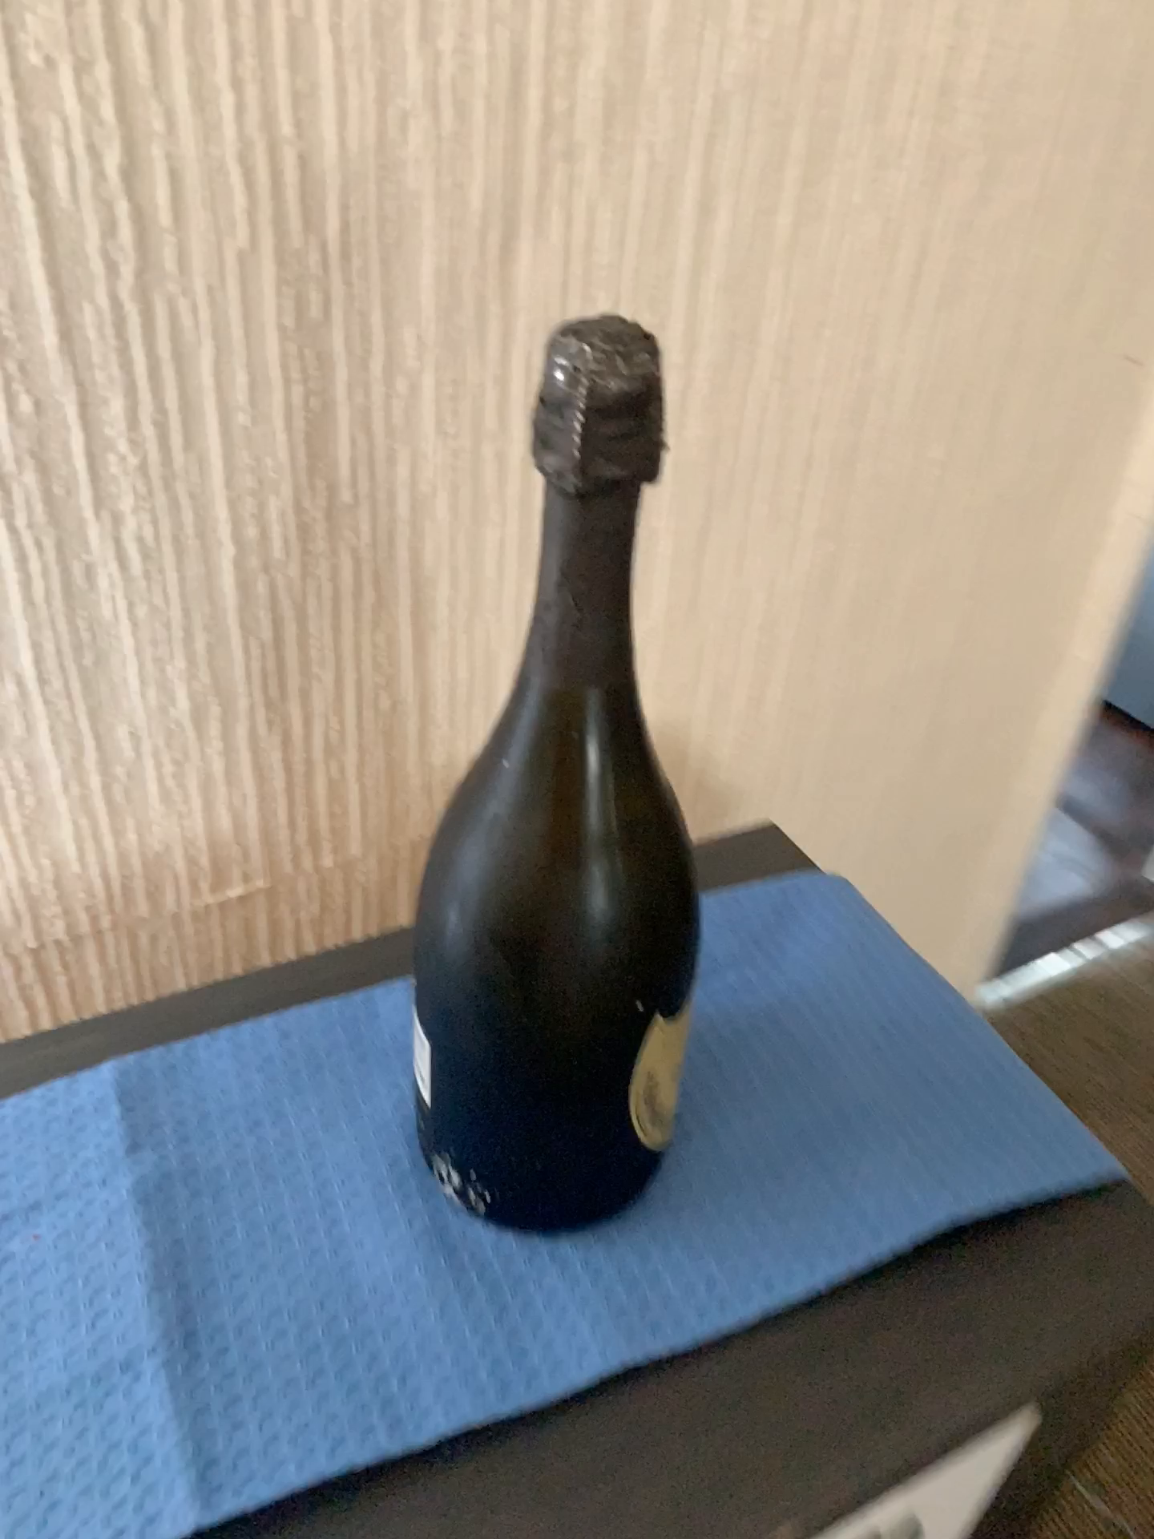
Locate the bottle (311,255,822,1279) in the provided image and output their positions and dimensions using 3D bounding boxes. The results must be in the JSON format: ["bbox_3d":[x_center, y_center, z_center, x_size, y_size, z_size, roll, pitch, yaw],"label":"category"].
[{"bbox_3d":[-0.007,0.015,0.367,0.100,0.297,0.101,4,35,-3],"label":"bottle"}]
